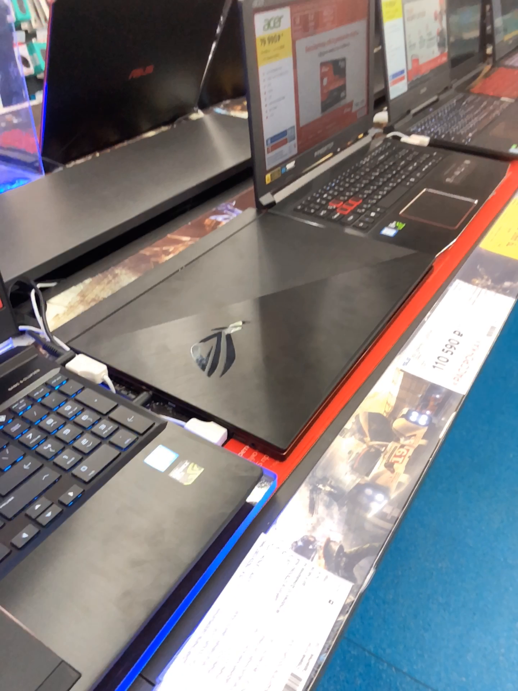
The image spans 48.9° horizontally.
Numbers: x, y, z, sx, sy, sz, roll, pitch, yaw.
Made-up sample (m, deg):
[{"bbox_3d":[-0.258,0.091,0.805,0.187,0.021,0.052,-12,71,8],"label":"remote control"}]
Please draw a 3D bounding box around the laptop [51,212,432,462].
[{"bbox_3d":[0.005,-0.047,0.603,0.254,0.006,0.349,22,42,24],"label":"laptop"}]
